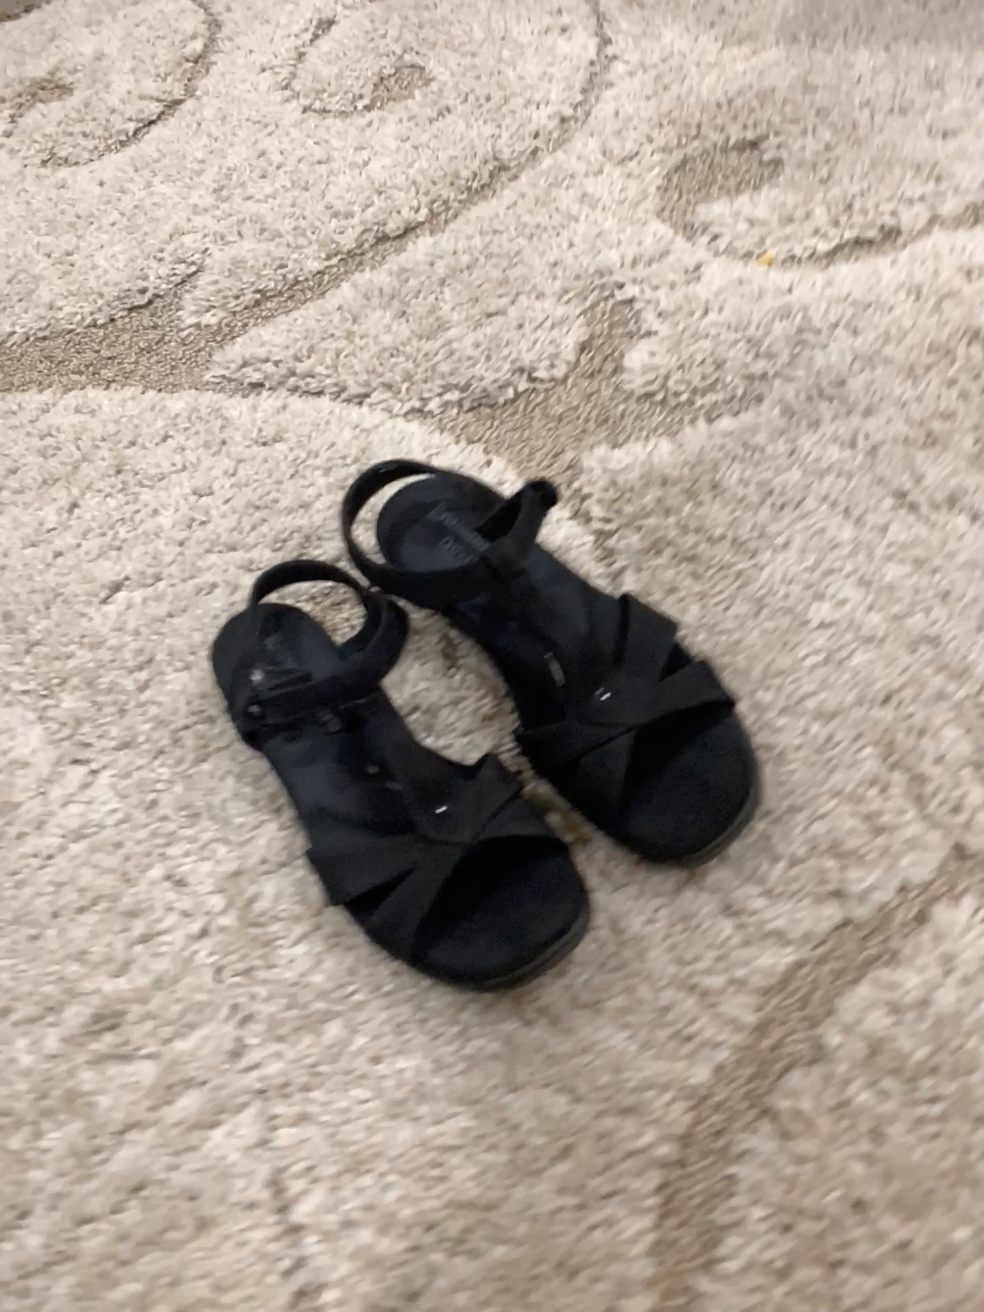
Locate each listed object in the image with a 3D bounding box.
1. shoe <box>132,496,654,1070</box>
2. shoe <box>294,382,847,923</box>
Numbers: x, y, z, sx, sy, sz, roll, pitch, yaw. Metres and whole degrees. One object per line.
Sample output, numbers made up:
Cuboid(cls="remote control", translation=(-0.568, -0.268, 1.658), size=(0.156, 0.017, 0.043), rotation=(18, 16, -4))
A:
Cuboid(cls="shoe", translation=(-0.052, 0.041, 0.436), size=(0.100, 0.059, 0.243), rotation=(-38, 57, -10))
Cuboid(cls="shoe", translation=(0.023, -0.015, 0.439), size=(0.100, 0.059, 0.243), rotation=(-38, 57, -10))
